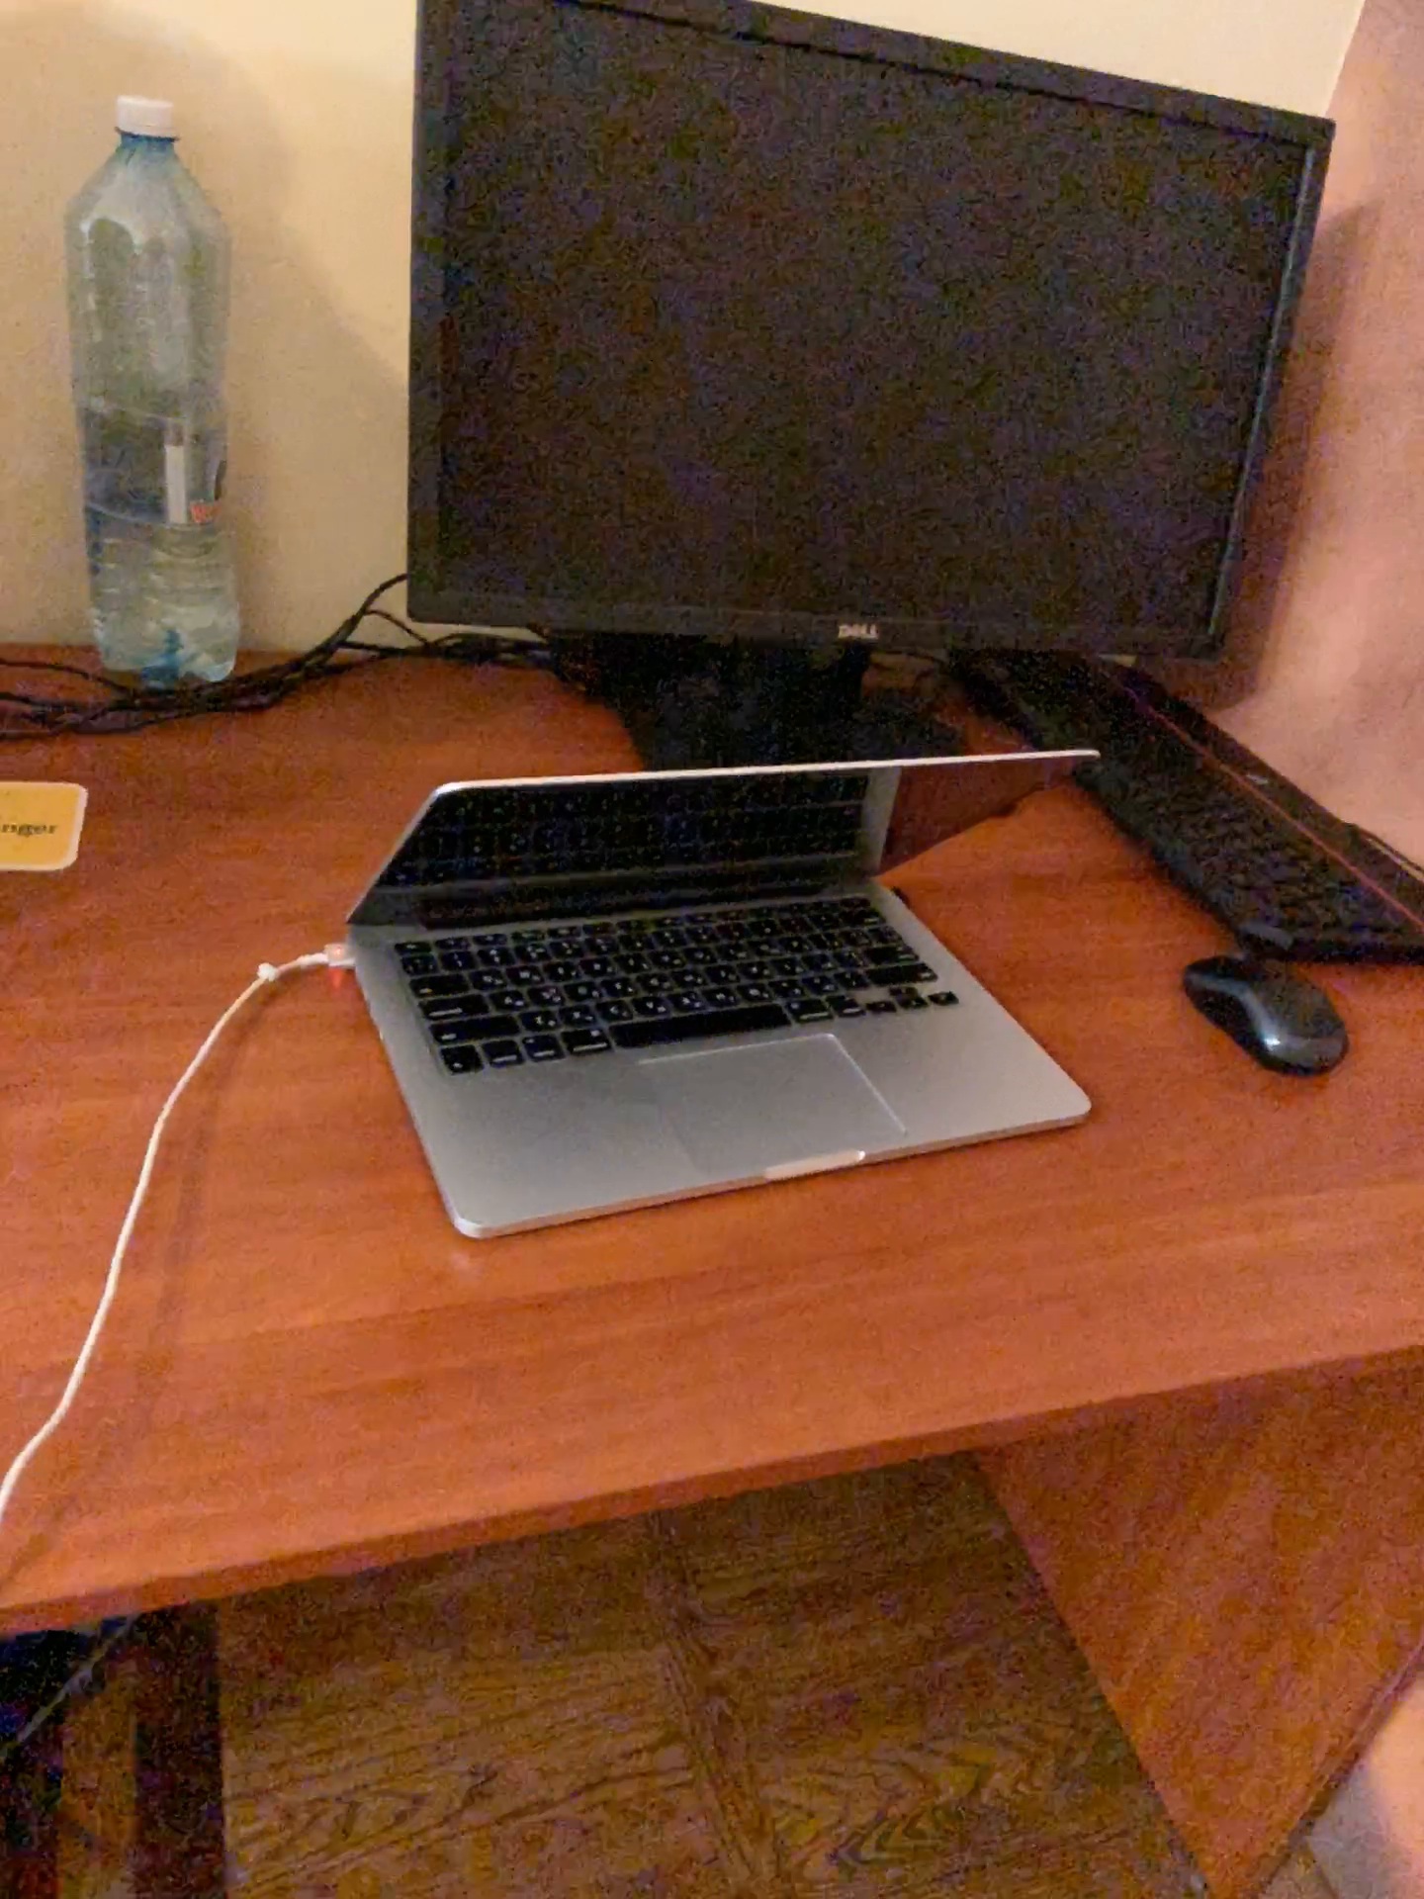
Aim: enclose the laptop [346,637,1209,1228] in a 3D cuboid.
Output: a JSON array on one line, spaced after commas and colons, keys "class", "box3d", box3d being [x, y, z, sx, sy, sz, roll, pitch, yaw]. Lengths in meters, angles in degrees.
[{"class": "laptop", "box3d": [0.015, -0.029, 0.648, 0.306, 0.148, 0.205, -6, 36, -26]}]
